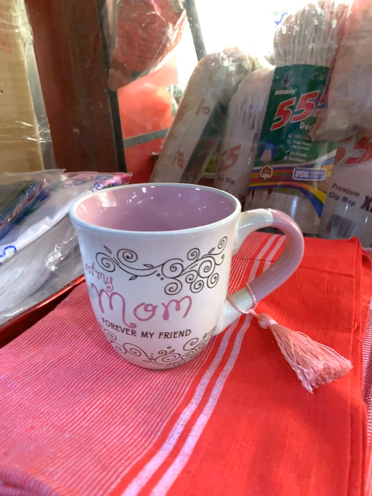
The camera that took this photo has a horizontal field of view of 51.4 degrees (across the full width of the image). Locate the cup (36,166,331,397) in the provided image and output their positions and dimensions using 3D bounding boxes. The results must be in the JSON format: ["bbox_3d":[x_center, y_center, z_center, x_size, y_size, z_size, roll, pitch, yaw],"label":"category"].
[{"bbox_3d":[-0.004,0.008,0.213,0.125,0.075,0.086,-9,25,-11],"label":"cup"}]
